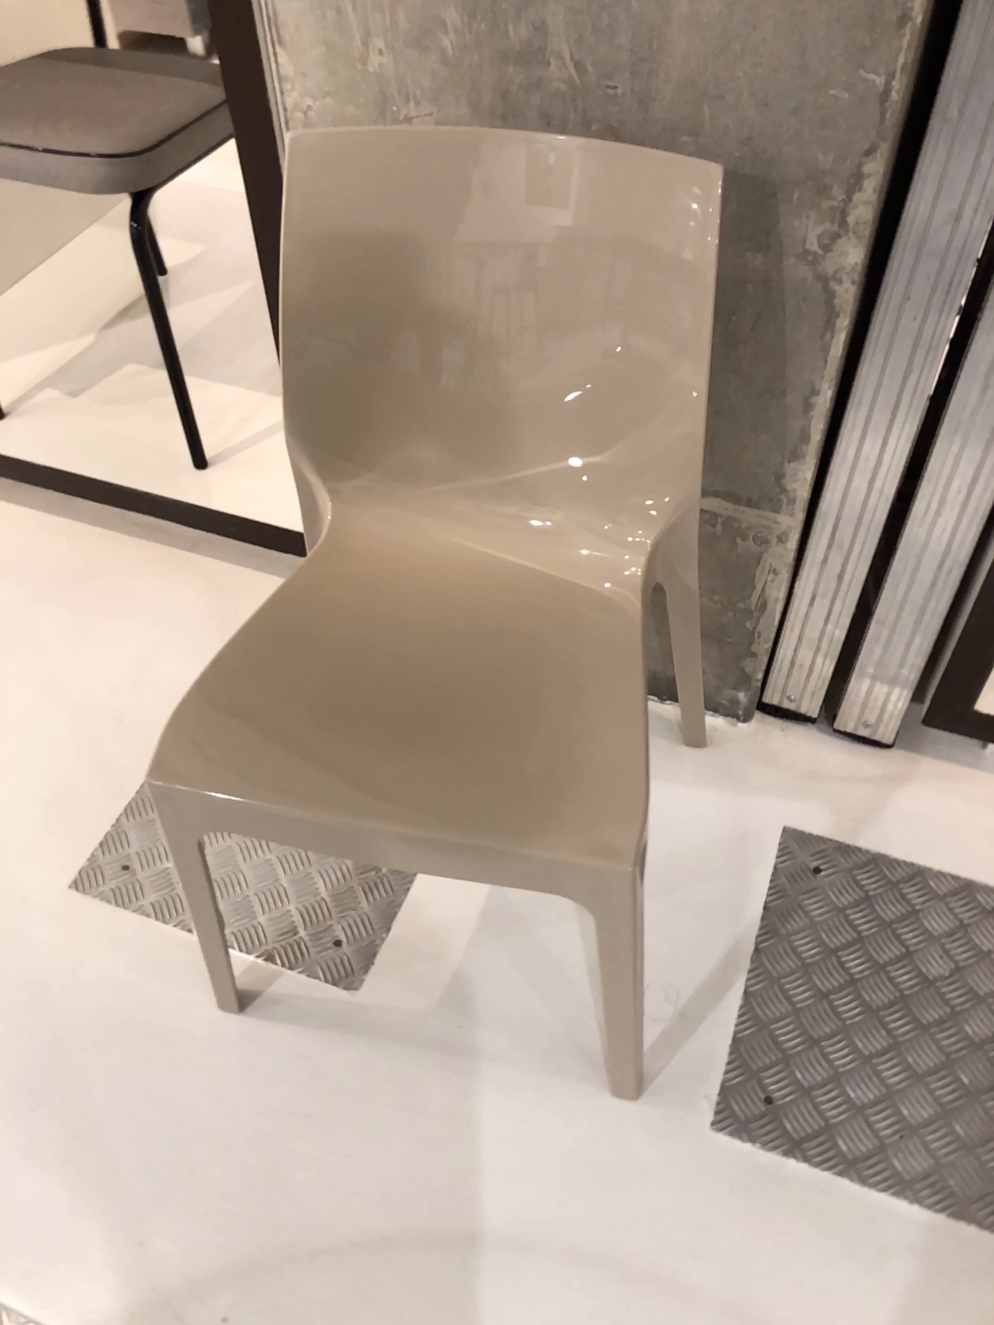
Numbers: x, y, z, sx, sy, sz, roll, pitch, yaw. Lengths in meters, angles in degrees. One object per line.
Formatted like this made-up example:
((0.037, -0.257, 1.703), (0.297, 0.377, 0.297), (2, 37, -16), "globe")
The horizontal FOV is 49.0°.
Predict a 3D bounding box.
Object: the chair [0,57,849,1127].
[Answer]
((-0.034, -0.031, 1.080), (0.550, 0.825, 0.564), (10, 49, 10), "chair")
